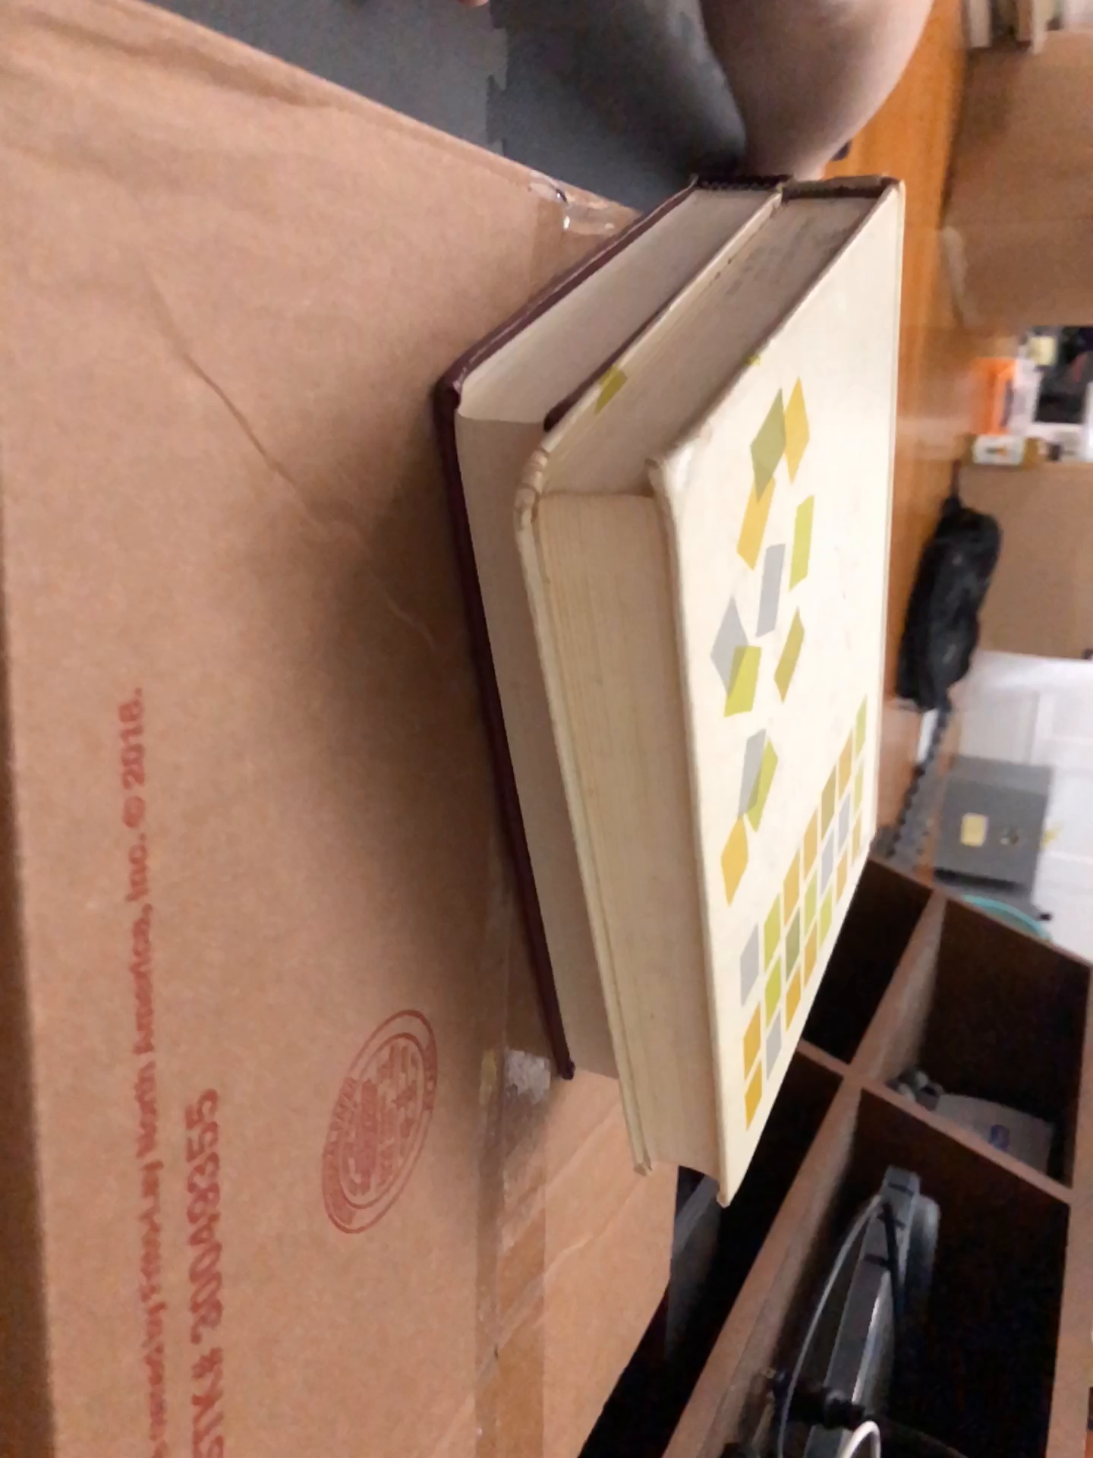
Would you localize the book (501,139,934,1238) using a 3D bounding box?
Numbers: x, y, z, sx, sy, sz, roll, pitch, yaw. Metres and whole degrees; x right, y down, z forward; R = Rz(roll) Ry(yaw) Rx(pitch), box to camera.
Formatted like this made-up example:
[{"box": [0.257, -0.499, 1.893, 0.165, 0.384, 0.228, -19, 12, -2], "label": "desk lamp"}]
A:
[{"box": [0.062, -0.007, 0.343, 0.181, 0.040, 0.250, -57, 149, -42], "label": "book"}]

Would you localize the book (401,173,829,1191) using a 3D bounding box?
[{"box": [0.039, -0.013, 0.370, 0.181, 0.040, 0.250, -55, 147, -45], "label": "book"}]
